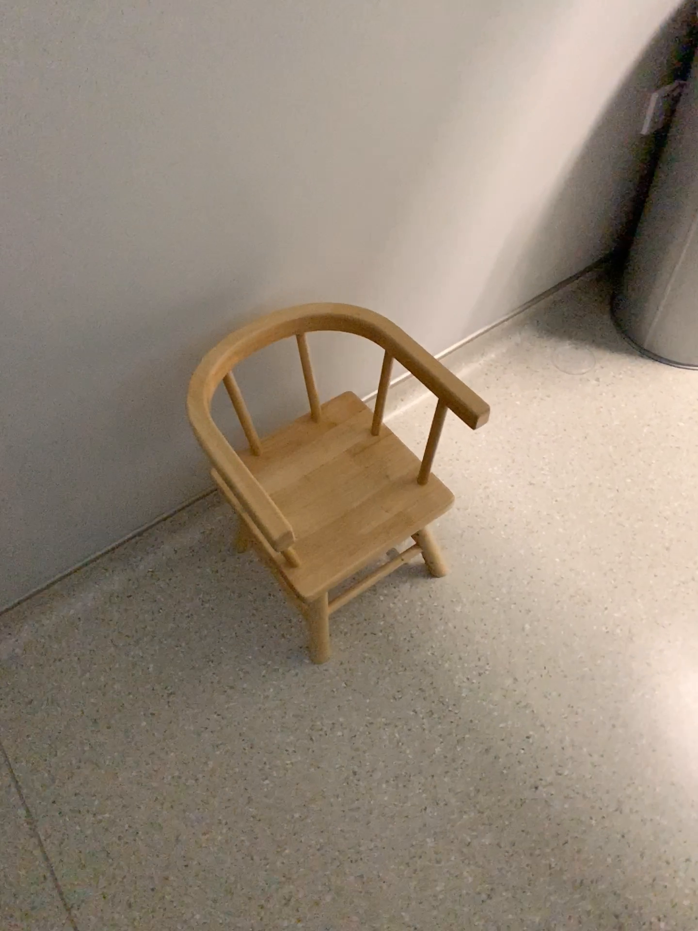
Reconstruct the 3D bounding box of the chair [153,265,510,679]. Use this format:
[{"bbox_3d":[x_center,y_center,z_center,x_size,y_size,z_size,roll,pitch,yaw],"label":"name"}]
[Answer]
[{"bbox_3d":[-0.019,0.027,1.160,0.362,0.481,0.344,-29,58,-16],"label":"chair"}]
